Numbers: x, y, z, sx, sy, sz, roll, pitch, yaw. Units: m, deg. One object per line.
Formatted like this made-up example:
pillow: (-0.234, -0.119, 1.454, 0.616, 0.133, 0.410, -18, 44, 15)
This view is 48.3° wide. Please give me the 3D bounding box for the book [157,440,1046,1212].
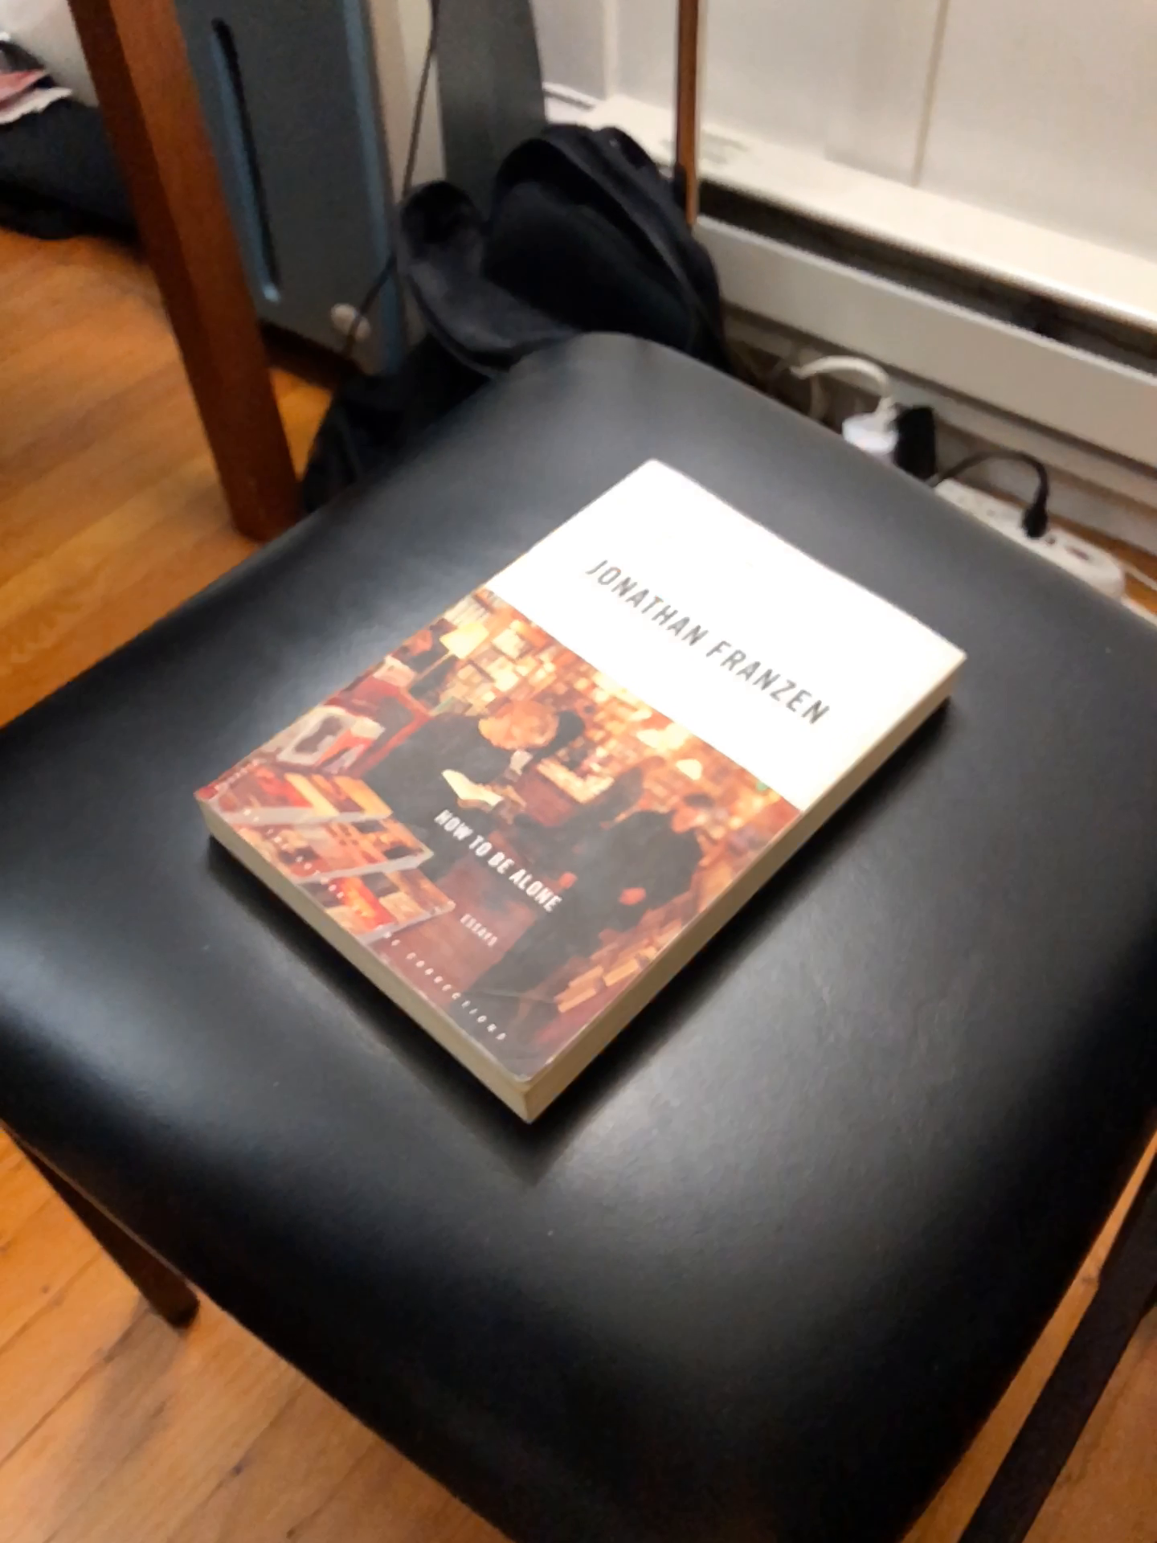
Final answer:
book: (0.013, -0.005, 0.412, 0.160, 0.040, 0.231, 35, 60, 27)
